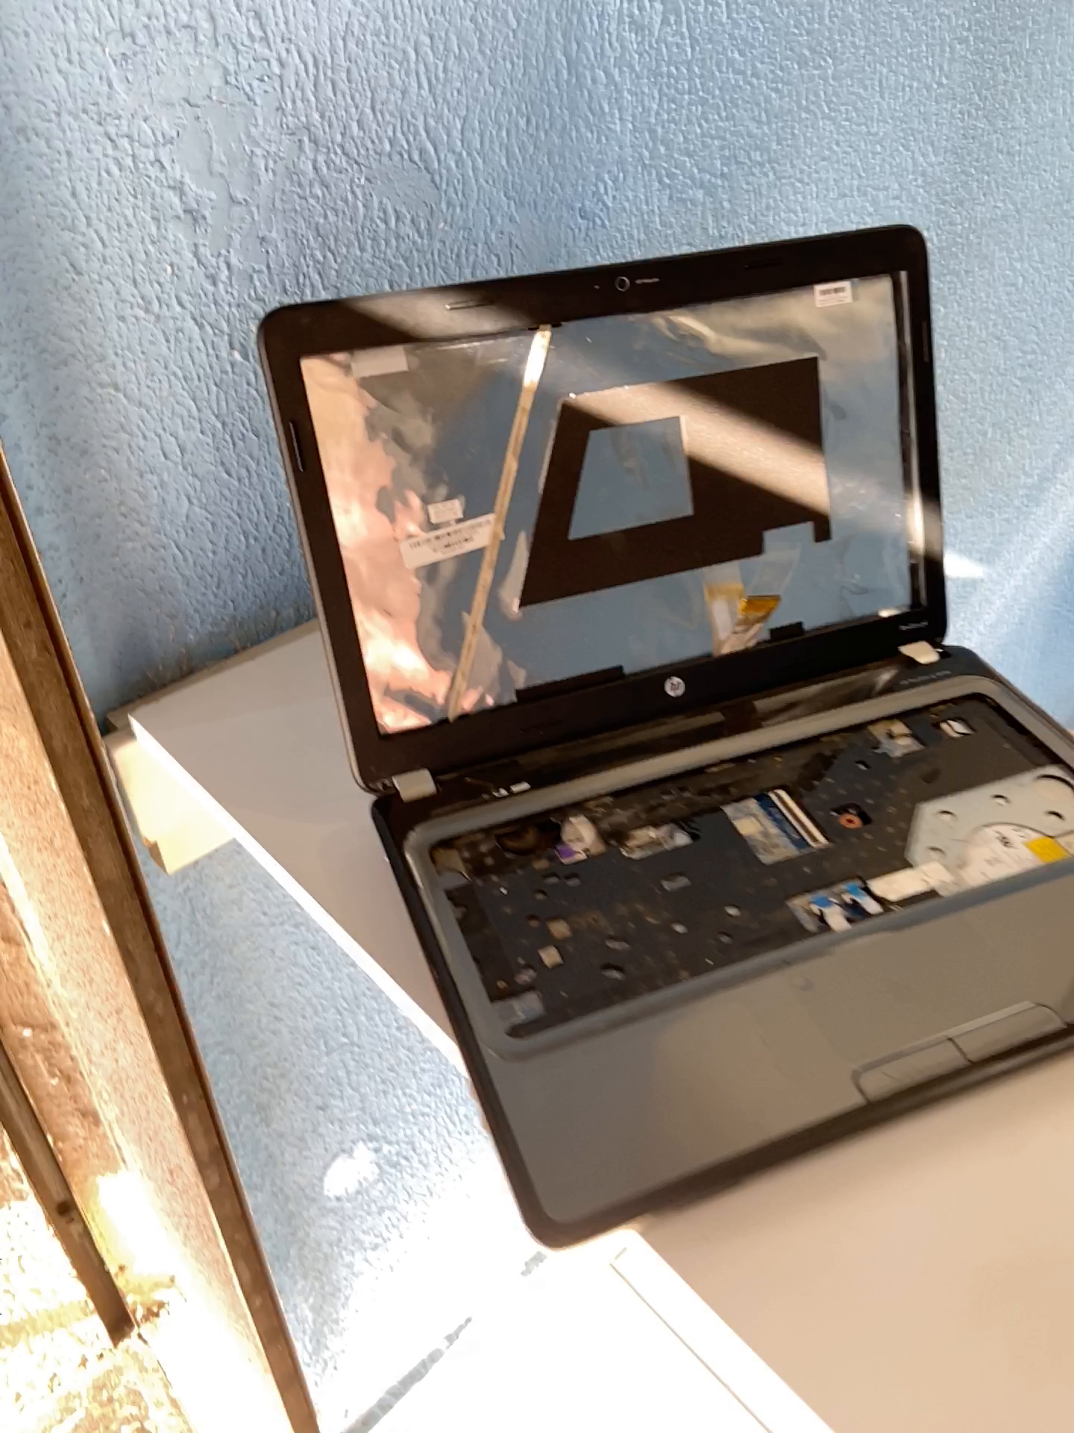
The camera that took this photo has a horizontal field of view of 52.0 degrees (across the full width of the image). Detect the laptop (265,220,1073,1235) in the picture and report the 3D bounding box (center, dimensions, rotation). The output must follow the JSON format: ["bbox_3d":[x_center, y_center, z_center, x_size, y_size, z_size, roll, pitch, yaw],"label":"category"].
[{"bbox_3d":[0.097,-0.045,0.462,0.335,0.194,0.324,-14,39,-15],"label":"laptop"}]
